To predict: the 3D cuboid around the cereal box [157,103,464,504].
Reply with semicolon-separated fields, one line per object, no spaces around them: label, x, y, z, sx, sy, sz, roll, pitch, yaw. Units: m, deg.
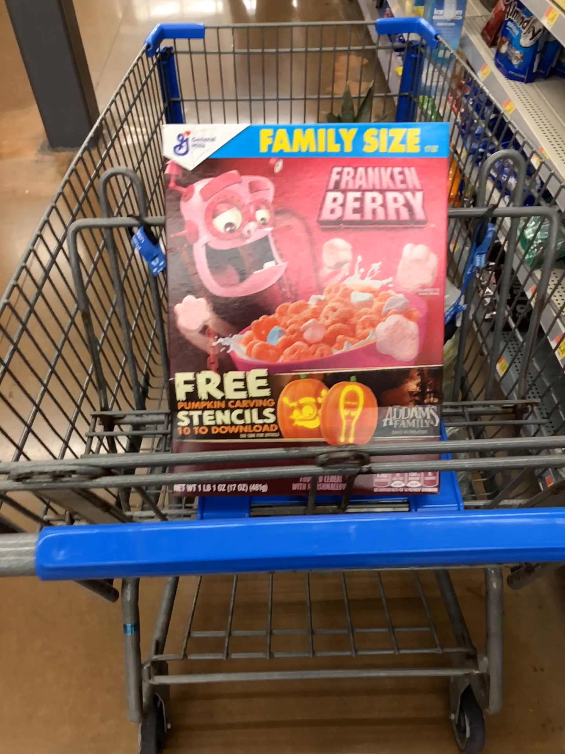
cereal box;0.024;-0.057;0.540;0.240;0.320;0.070;-1;7;1
